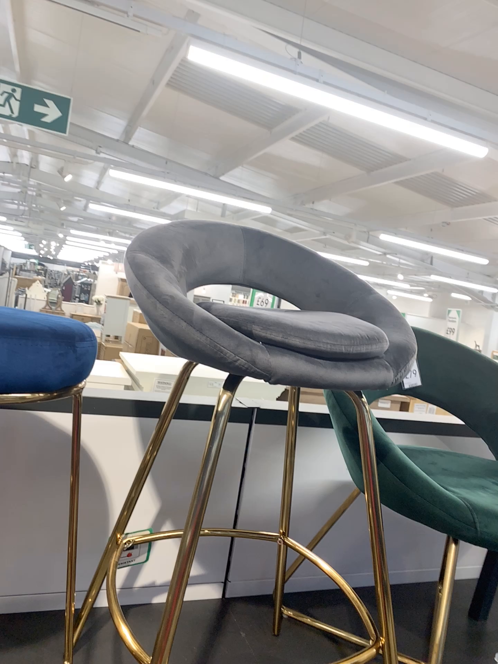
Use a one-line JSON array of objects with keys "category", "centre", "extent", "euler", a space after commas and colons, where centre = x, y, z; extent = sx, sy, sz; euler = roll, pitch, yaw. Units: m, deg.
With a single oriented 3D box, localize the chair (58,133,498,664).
[{"category": "chair", "centre": [0.012, 0.232, 0.845], "extent": [0.486, 0.873, 0.475], "euler": [8, 2, -23]}]
